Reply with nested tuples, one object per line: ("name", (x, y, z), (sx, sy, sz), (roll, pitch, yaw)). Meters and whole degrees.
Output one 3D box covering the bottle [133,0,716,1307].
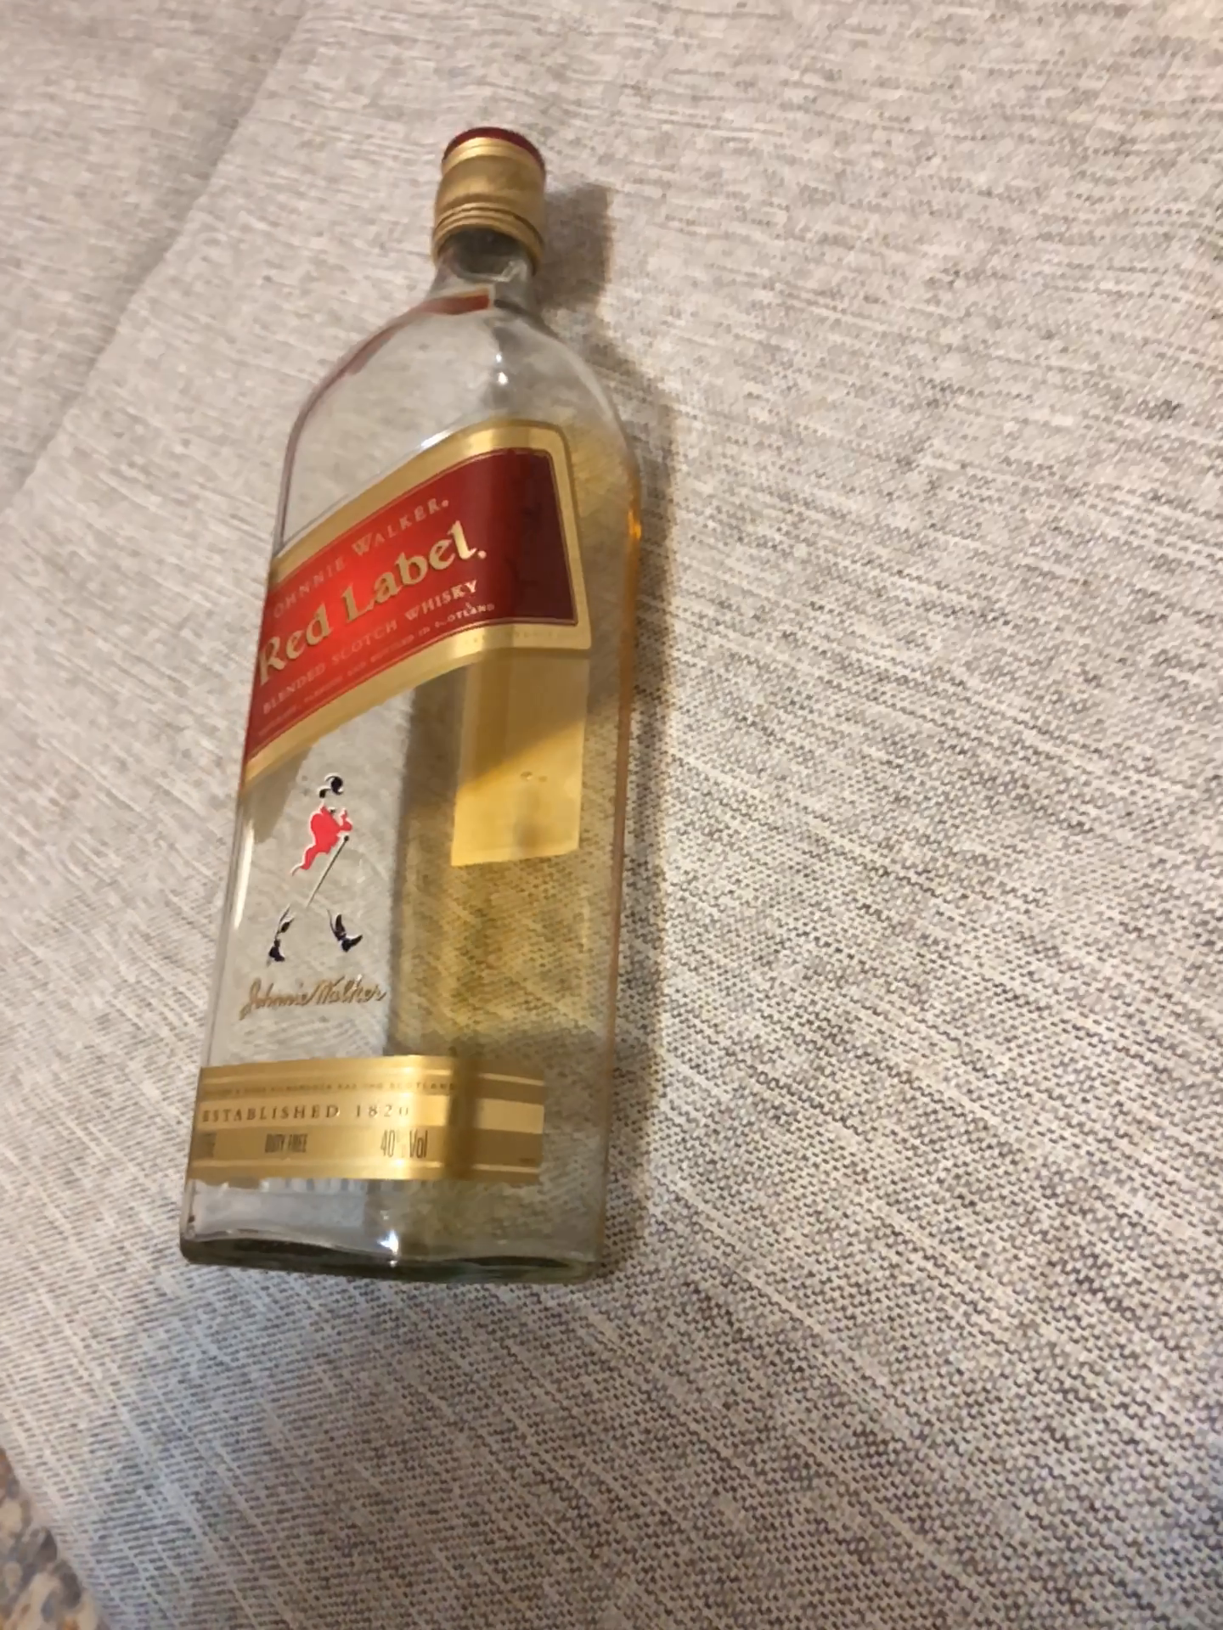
("bottle", (-0.034, -0.053, 0.322), (0.090, 0.070, 0.310), (-7, 71, 29))
